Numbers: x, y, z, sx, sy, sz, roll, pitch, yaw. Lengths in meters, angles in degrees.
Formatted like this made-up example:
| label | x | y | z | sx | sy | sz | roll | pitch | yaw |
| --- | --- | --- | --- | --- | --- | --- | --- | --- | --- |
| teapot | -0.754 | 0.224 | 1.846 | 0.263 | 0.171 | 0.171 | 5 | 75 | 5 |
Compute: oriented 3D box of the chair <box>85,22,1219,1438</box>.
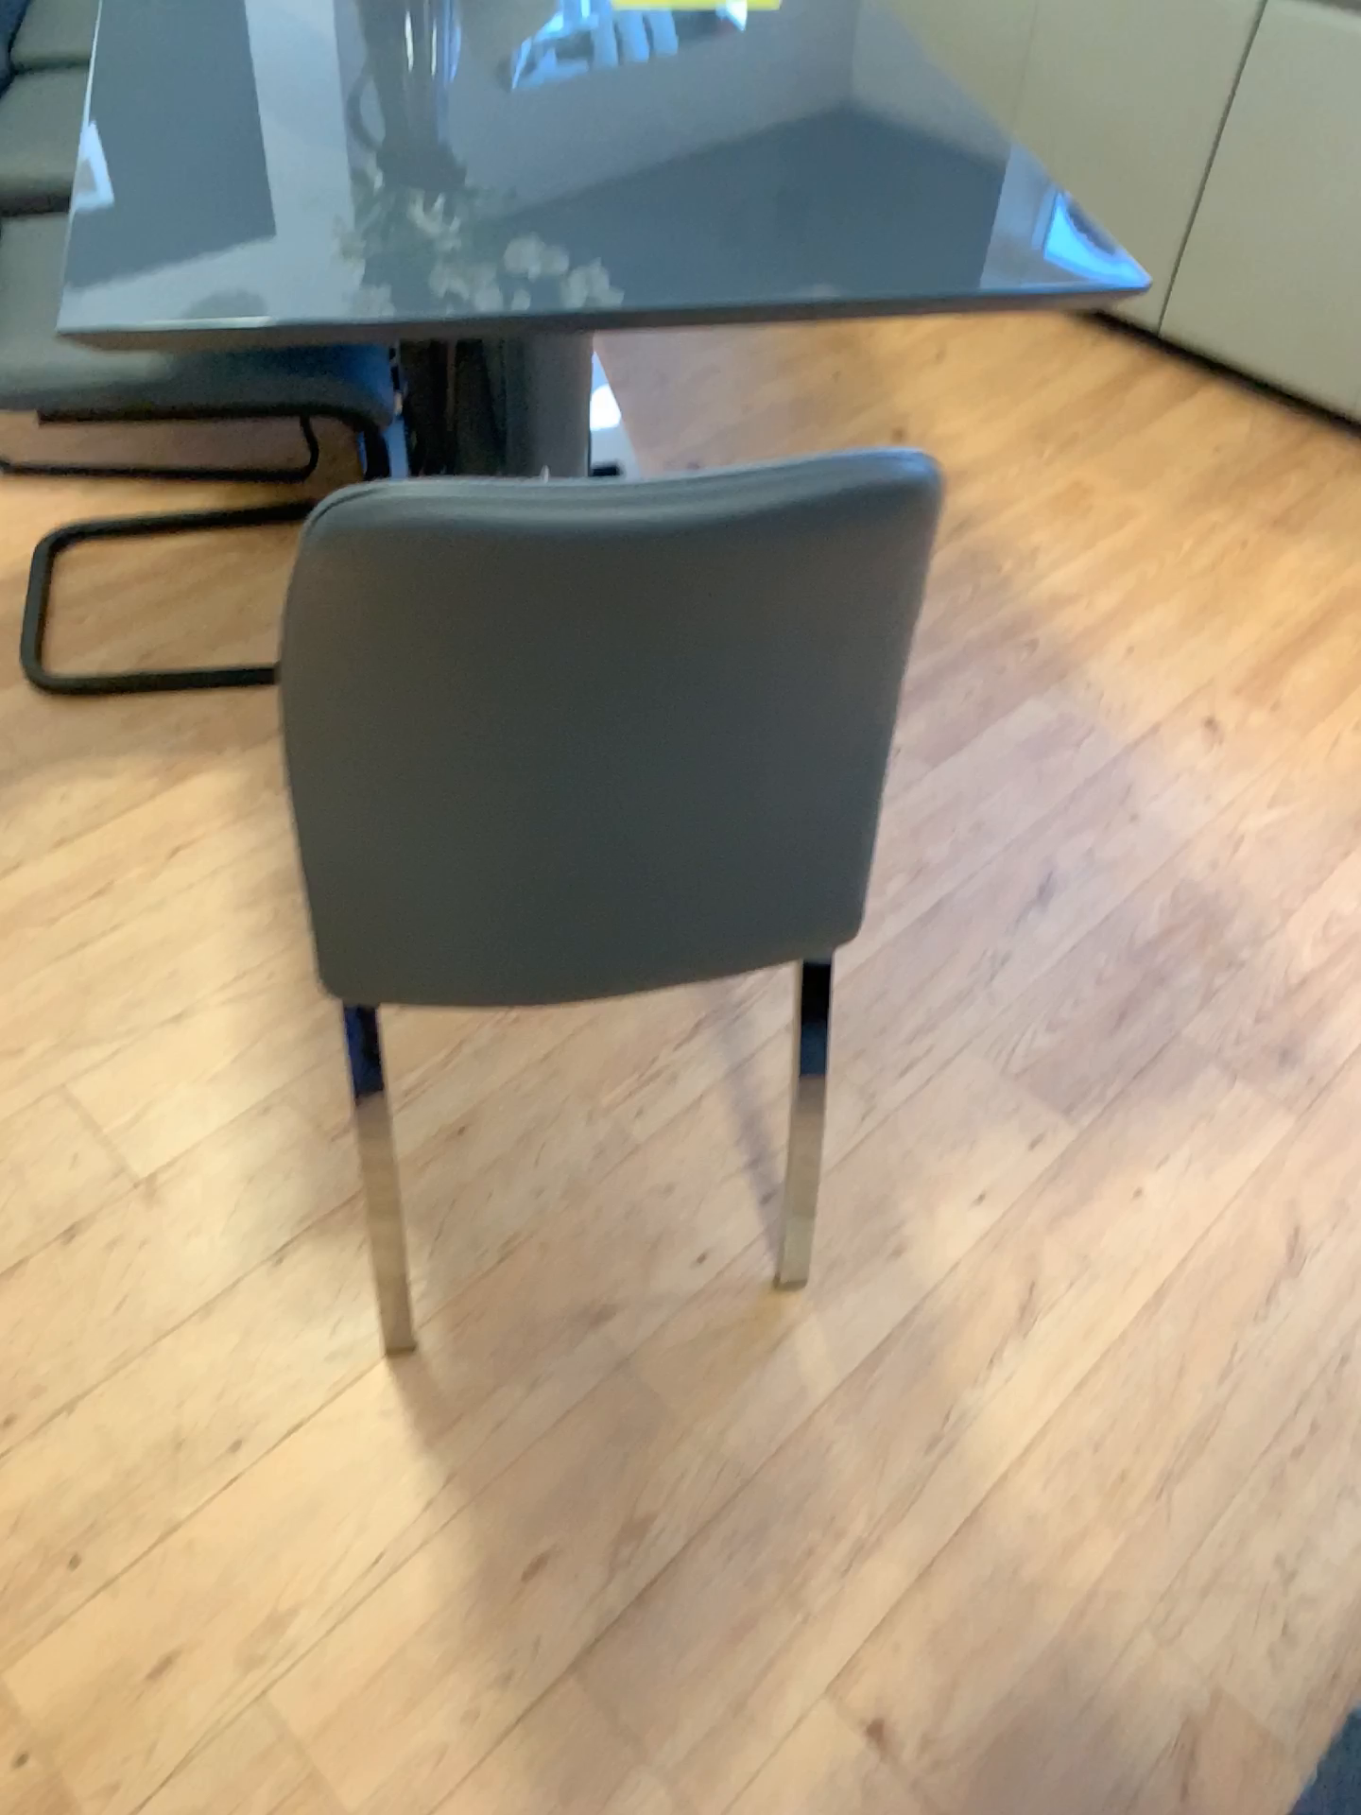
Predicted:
| label | x | y | z | sx | sy | sz | roll | pitch | yaw |
| --- | --- | --- | --- | --- | --- | --- | --- | --- | --- |
| chair | -0.083 | -0.100 | 1.116 | 0.480 | 0.892 | 0.646 | -6 | 49 | -10 |
